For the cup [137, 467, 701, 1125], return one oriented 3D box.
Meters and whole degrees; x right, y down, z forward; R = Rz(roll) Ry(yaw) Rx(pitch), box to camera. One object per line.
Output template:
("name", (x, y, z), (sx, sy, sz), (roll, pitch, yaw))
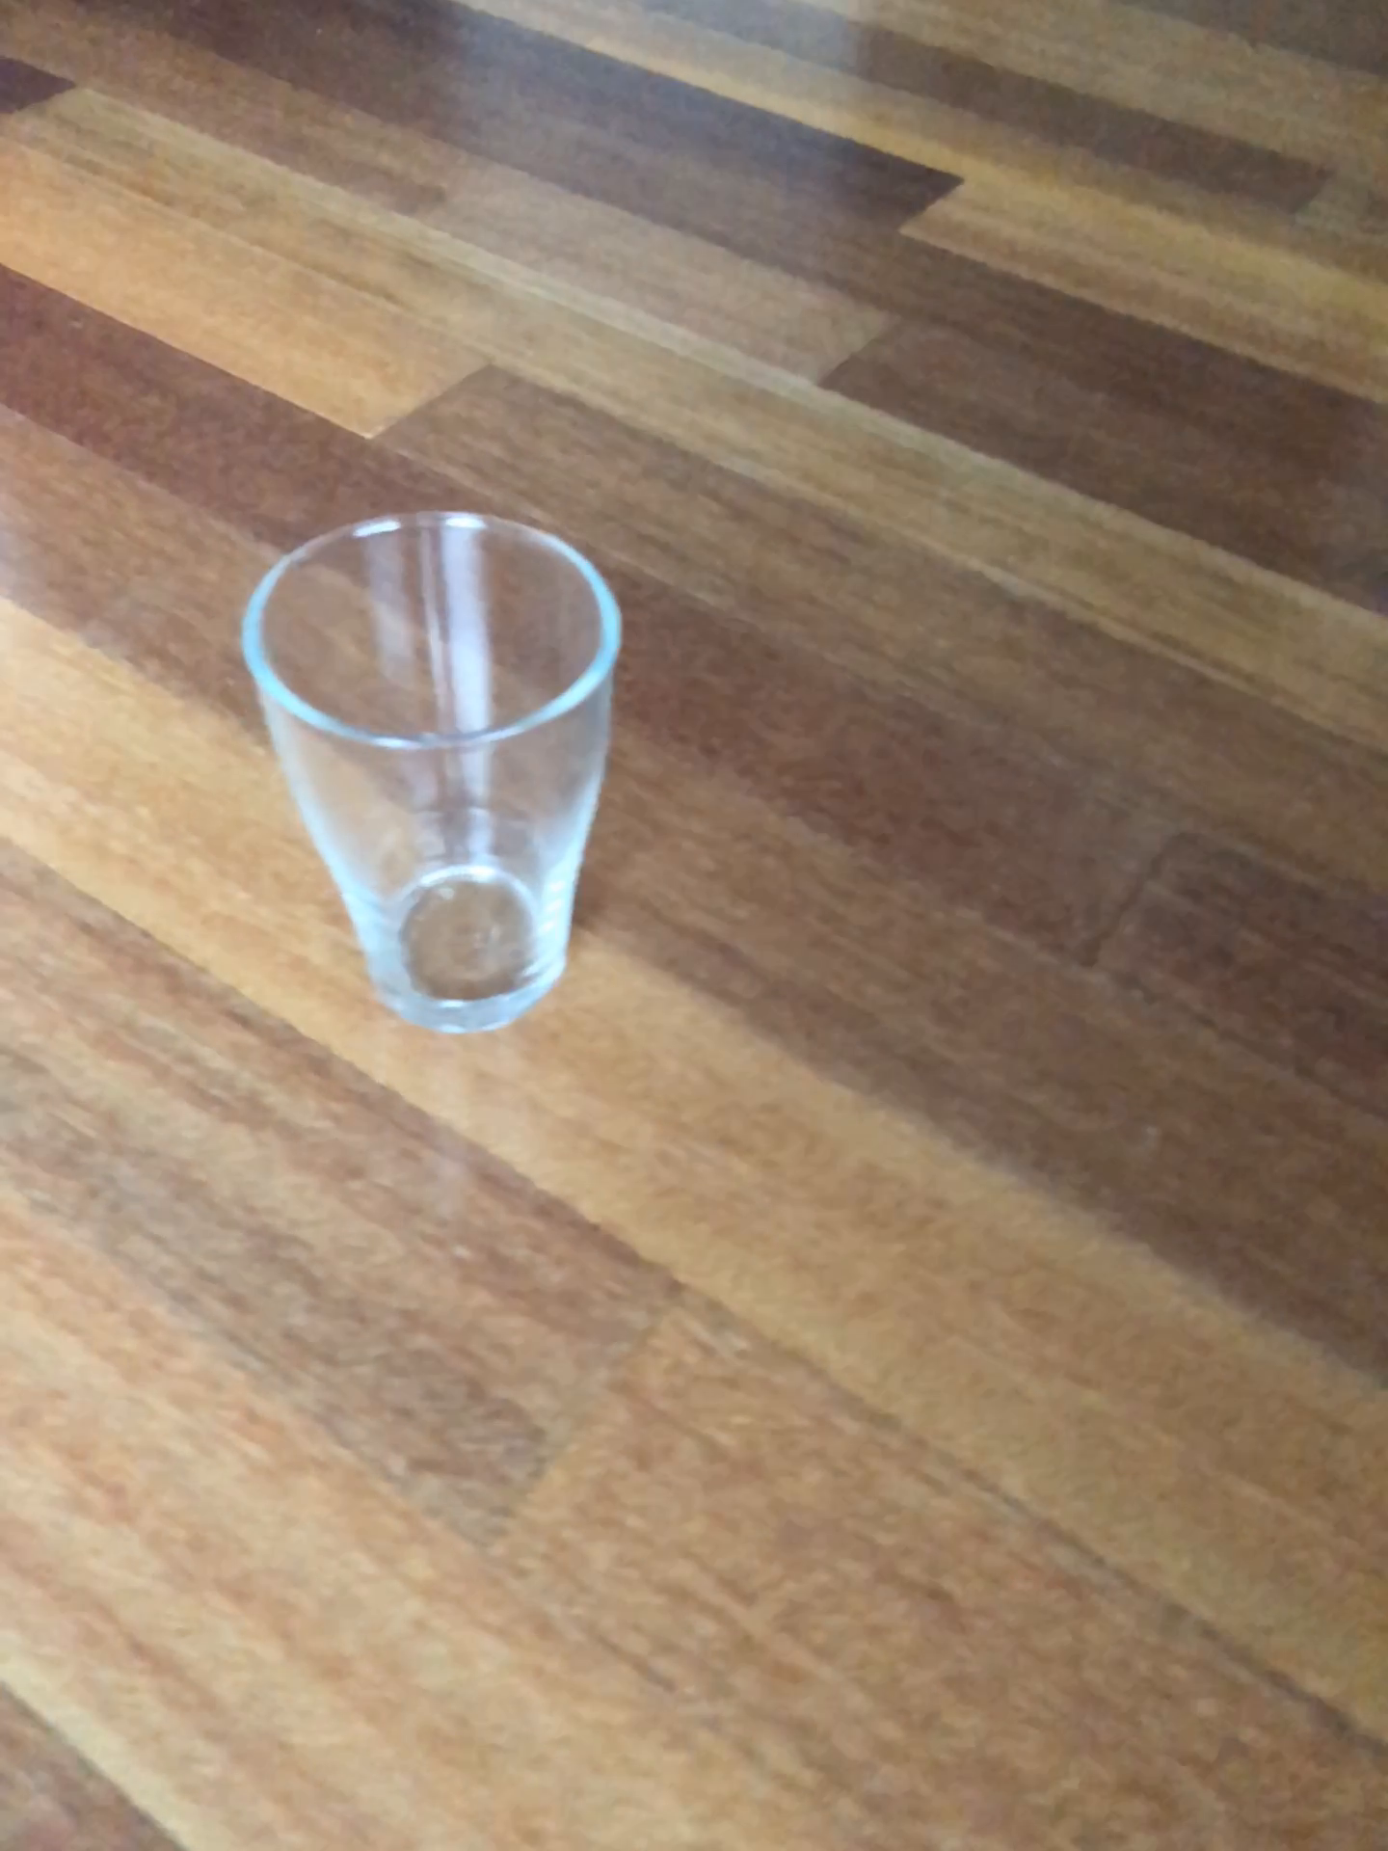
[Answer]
("cup", (-0.062, -0.032, 0.380), (0.090, 0.109, 0.090), (2, 49, -3))
